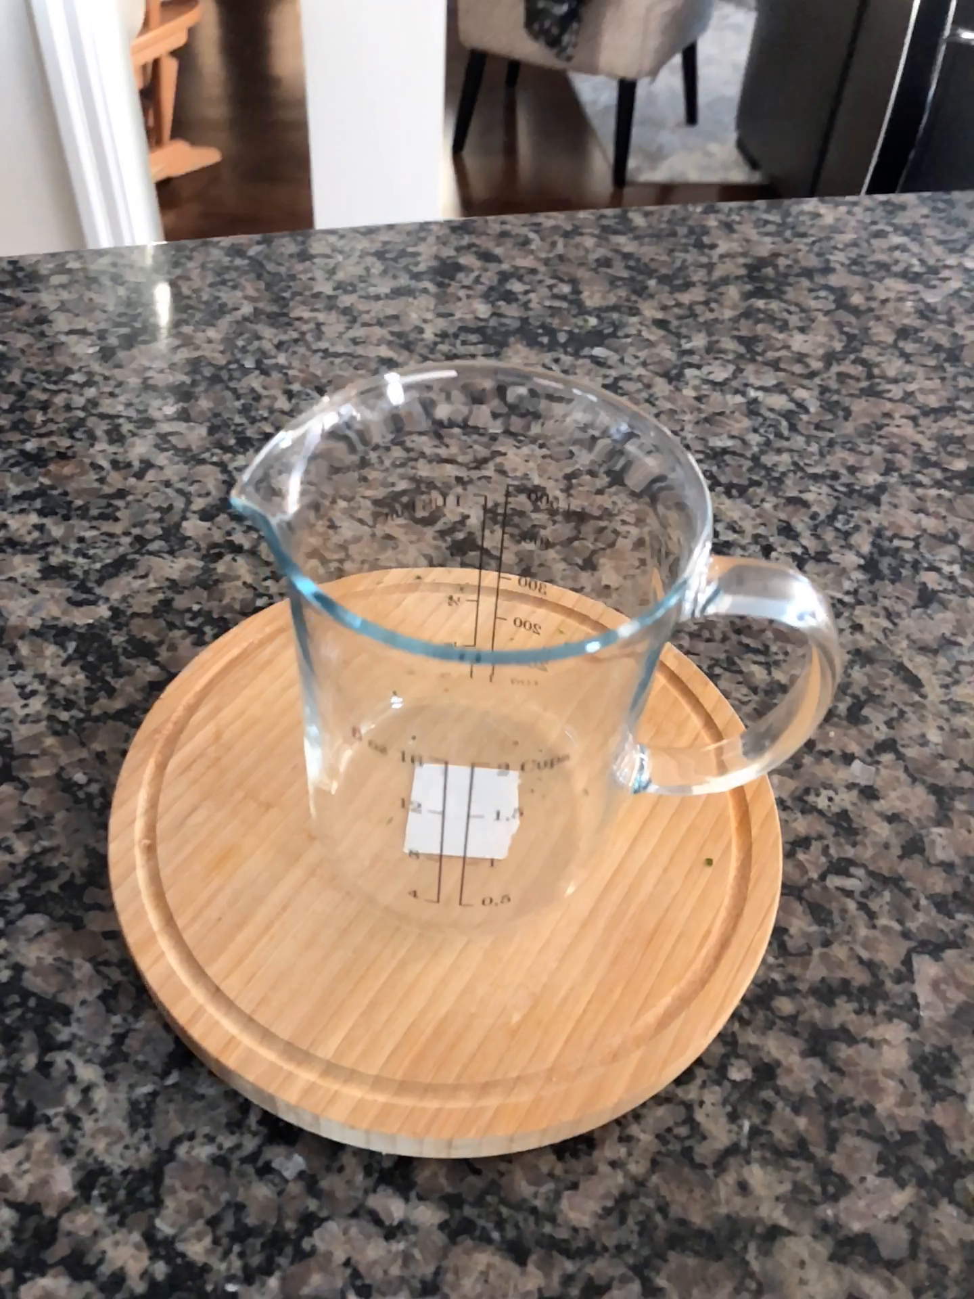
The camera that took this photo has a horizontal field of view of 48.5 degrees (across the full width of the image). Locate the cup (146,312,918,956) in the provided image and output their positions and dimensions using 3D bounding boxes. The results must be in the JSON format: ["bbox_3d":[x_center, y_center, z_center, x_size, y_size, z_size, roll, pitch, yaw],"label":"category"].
[{"bbox_3d":[0.007,-0.001,0.293,0.150,0.128,0.105,4,47,-1],"label":"cup"}]
